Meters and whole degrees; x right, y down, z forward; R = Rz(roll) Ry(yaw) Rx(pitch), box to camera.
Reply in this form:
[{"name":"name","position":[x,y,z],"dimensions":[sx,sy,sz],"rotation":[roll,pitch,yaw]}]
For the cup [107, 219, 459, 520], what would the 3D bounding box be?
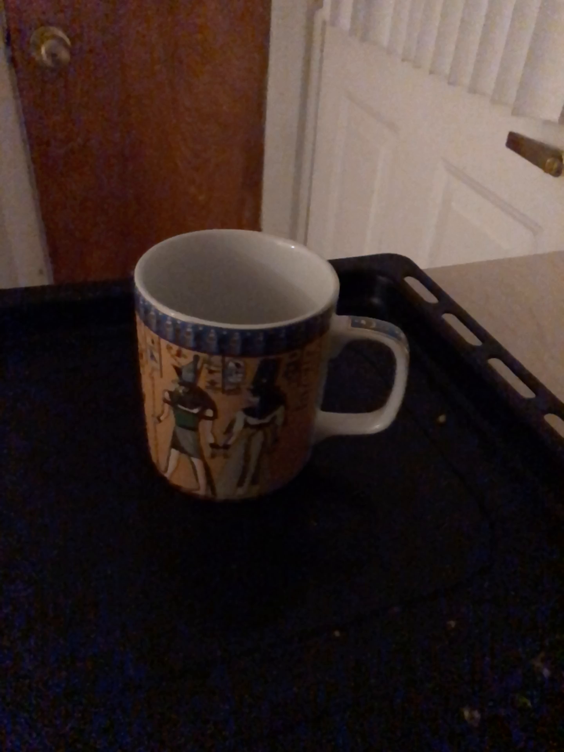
[{"name":"cup","position":[0.000,-0.004,0.271],"dimensions":[0.120,0.089,0.081],"rotation":[5,38,0]}]
